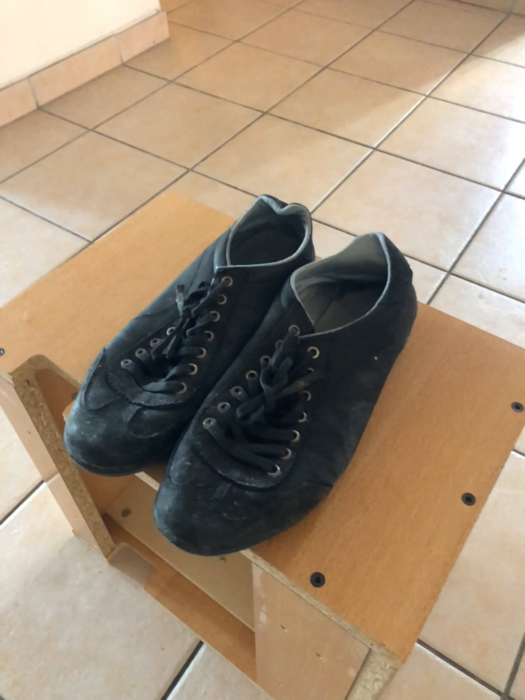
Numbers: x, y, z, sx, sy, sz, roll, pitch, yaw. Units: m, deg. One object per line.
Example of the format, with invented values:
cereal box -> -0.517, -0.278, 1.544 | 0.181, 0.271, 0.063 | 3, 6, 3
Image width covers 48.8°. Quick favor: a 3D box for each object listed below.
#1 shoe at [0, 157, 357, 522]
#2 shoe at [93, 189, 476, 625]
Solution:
shoe -> -0.047, -0.030, 0.465 | 0.110, 0.089, 0.302 | 26, 54, 21
shoe -> 0.037, 0.015, 0.420 | 0.110, 0.089, 0.312 | 26, 54, 21
